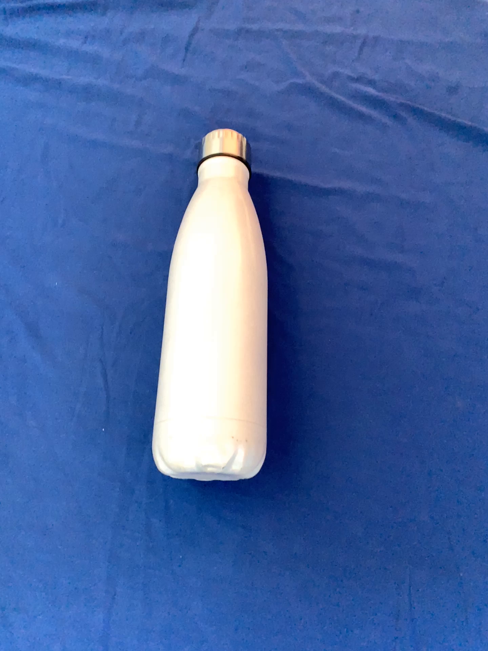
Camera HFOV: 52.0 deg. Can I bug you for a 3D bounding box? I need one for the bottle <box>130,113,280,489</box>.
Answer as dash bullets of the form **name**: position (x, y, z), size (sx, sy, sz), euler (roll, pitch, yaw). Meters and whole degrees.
- **bottle**: position (-0.022, -0.027, 0.342), size (0.080, 0.050, 0.260), euler (1, 67, -2)
